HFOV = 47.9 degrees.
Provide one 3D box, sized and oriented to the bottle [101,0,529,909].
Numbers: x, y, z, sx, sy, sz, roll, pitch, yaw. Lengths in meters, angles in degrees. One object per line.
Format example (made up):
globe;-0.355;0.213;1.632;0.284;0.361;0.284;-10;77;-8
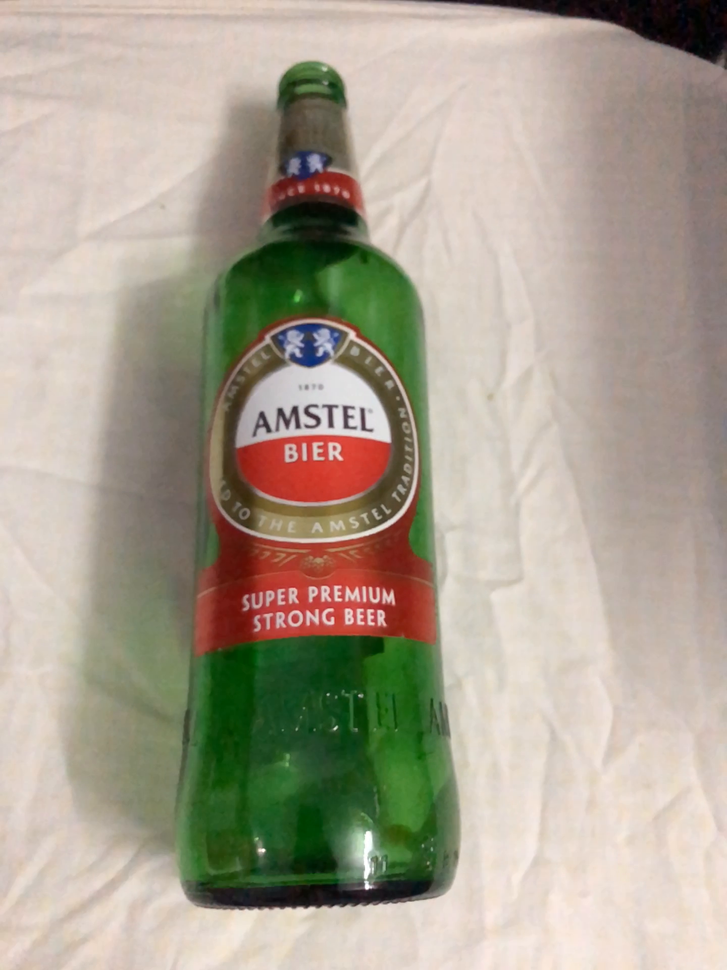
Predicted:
bottle;-0.020;-0.058;0.287;0.090;0.080;0.361;0;64;-5
